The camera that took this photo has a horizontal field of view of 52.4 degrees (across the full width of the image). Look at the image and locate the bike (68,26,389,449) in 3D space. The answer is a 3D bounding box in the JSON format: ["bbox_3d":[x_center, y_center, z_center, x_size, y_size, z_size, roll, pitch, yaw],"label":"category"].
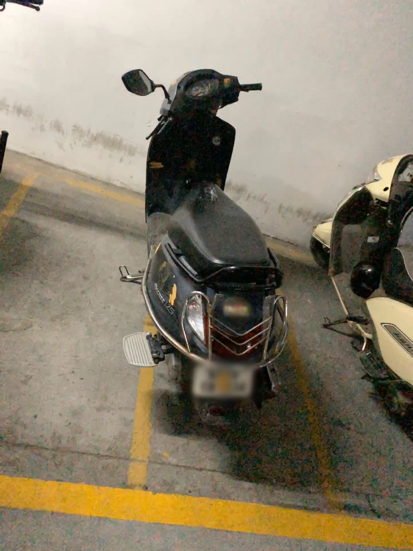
[{"bbox_3d":[-0.179,-0.234,1.979,0.653,1.239,1.538,10,36,-24],"label":"bike"}]
